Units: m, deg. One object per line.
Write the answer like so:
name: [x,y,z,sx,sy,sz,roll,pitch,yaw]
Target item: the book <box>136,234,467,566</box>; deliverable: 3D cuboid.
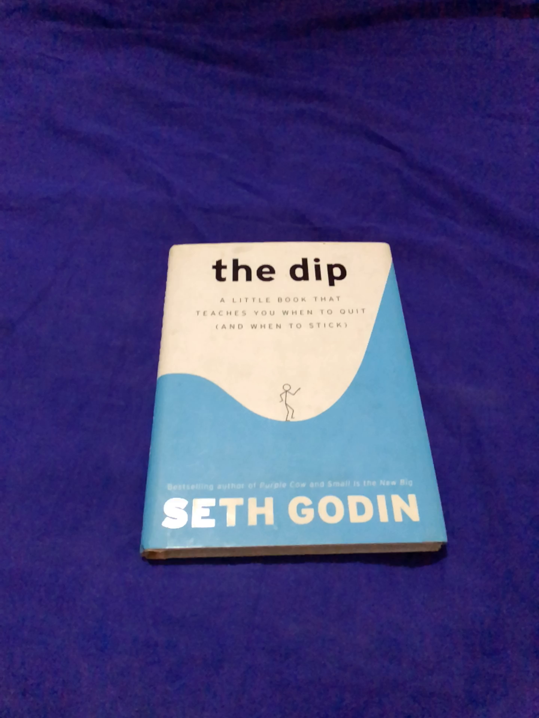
book: [0.010,0.008,0.317,0.140,0.020,0.191,-1,54,-3]
